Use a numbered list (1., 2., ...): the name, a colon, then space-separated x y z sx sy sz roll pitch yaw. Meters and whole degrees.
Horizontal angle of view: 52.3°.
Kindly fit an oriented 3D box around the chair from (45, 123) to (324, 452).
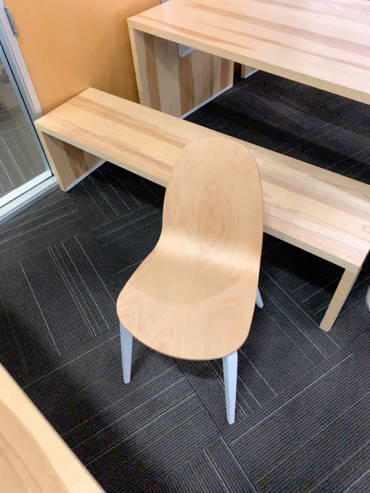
1. chair: 0.071 0.146 1.226 0.521 0.766 0.652 12 51 14
